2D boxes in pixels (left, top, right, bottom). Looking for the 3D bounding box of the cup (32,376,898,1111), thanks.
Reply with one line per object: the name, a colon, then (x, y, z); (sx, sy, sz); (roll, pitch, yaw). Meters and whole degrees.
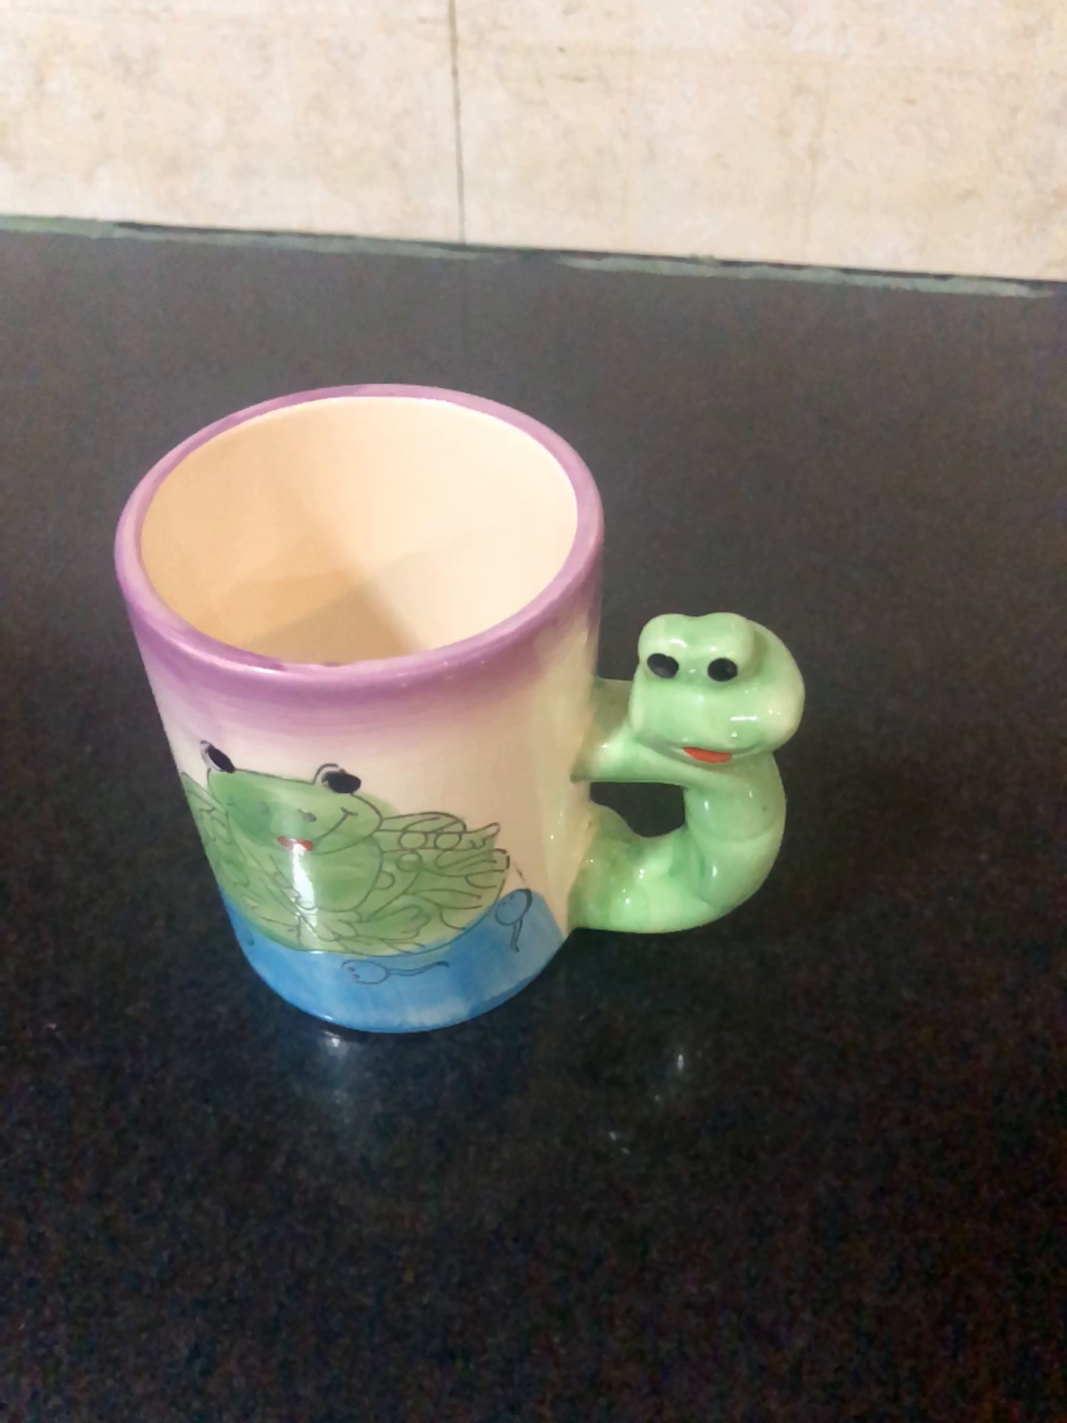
cup: (-0.009, 0.009, 0.219); (0.110, 0.109, 0.081); (0, 45, 0)
